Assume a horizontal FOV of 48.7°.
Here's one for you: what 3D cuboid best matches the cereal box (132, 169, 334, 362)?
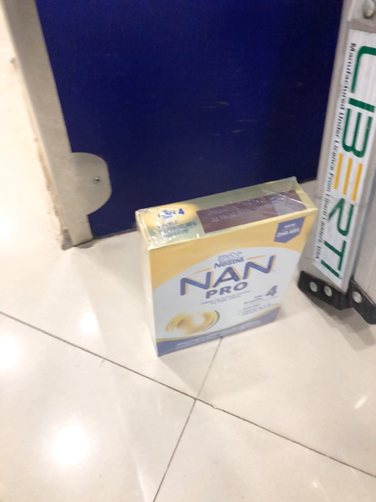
[{"bbox_3d":[0.038,0.026,0.443,0.170,0.209,0.050,-13,52,-12],"label":"cereal box"}]
